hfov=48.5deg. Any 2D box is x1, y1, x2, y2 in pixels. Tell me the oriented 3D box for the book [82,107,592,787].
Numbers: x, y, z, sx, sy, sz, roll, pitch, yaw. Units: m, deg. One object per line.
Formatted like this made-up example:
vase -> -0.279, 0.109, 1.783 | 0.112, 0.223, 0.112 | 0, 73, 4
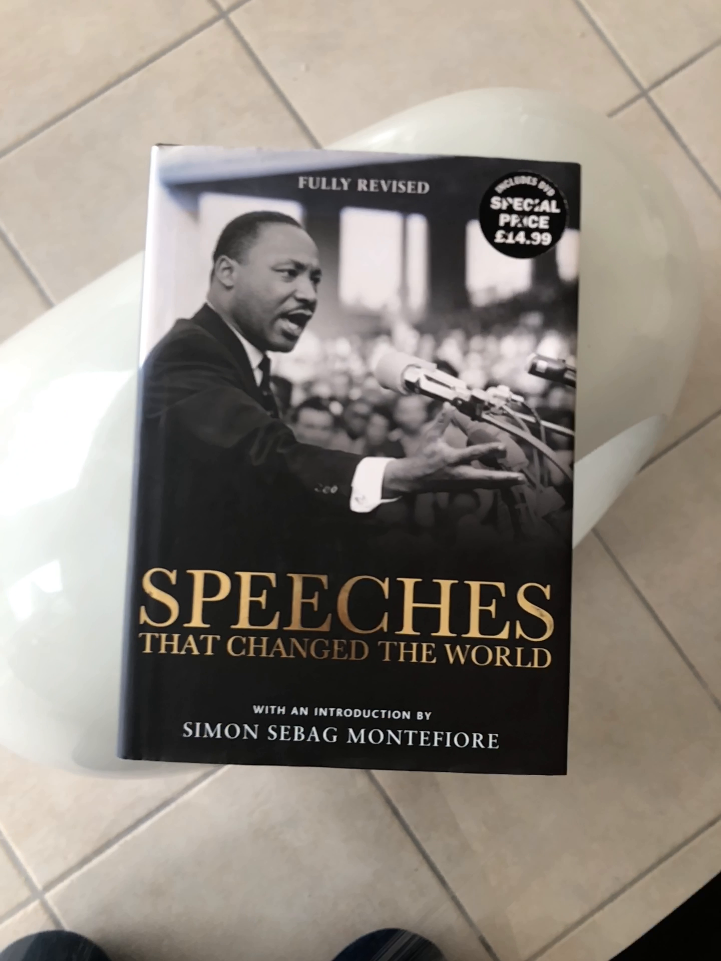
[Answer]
book -> -0.006, -0.017, 0.368 | 0.210, 0.040, 0.290 | 2, 85, -1
